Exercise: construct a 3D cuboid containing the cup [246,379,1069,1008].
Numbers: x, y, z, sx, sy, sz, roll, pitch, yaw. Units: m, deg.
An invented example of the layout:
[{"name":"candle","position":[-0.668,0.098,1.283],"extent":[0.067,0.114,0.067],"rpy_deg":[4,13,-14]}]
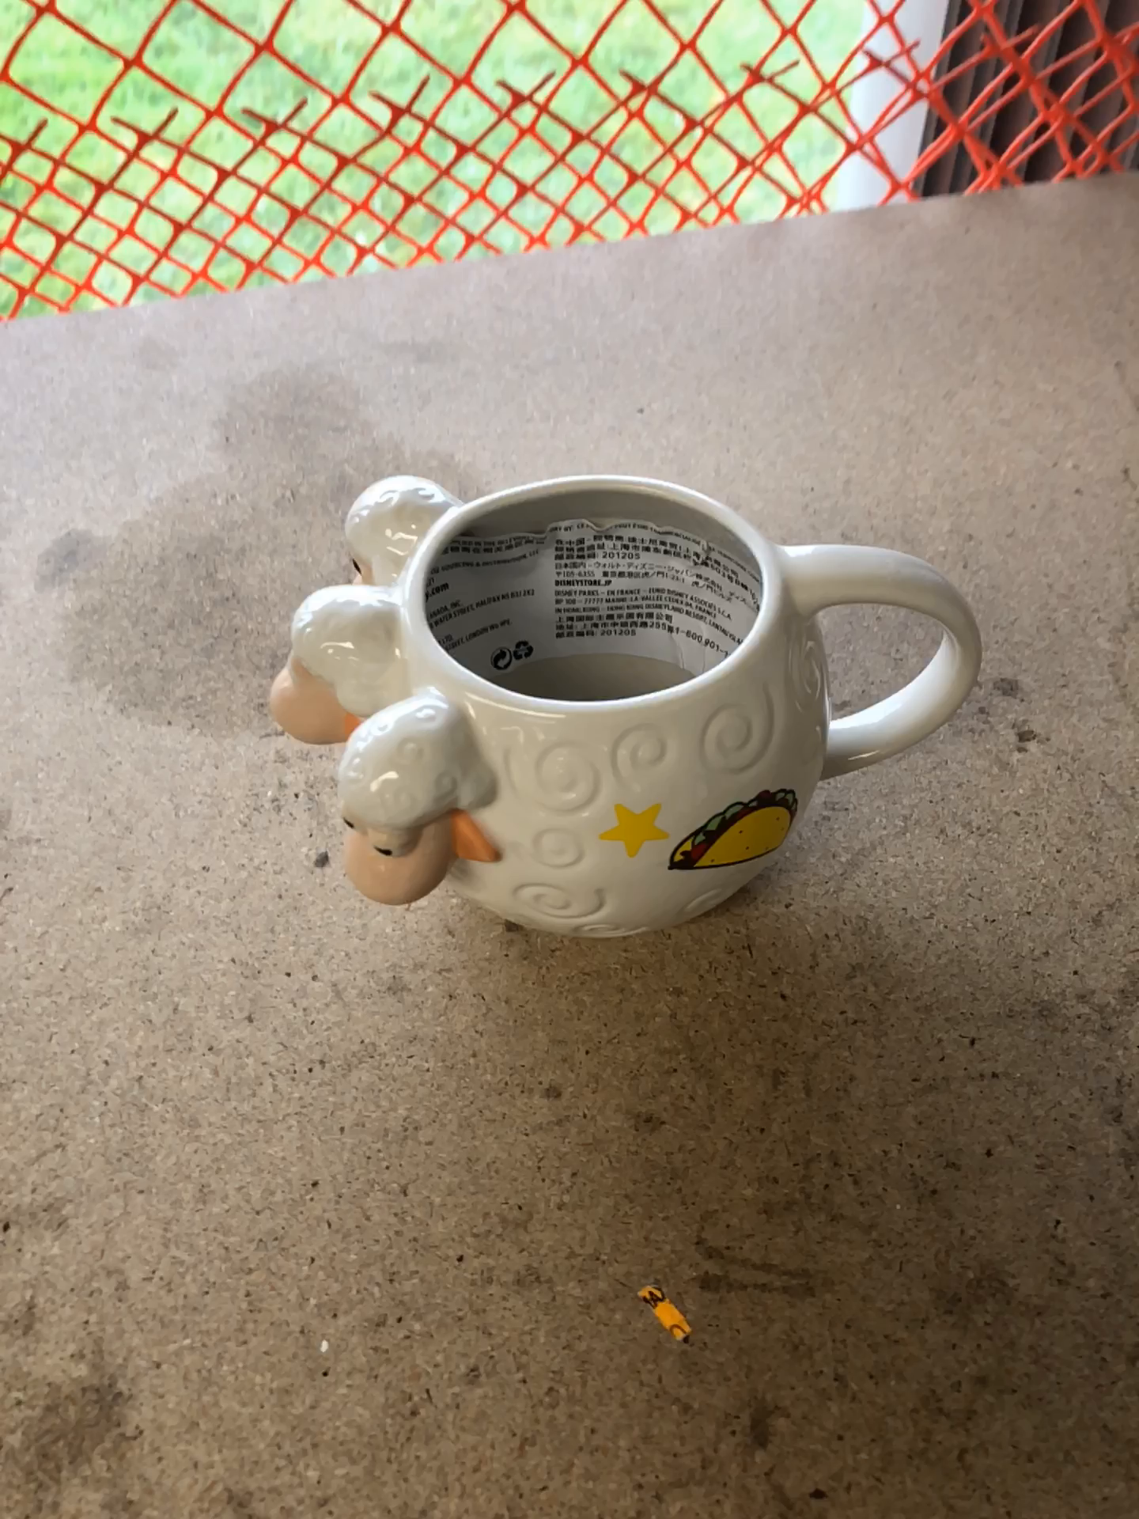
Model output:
[{"name":"cup","position":[0.014,-0.013,0.283],"extent":[0.146,0.090,0.076],"rpy_deg":[-11,53,-6]}]
